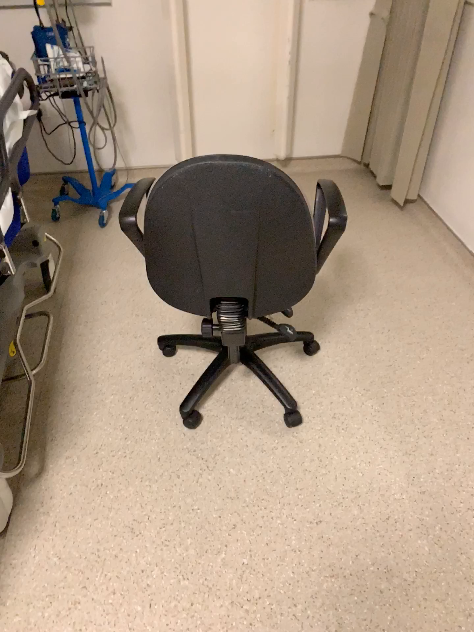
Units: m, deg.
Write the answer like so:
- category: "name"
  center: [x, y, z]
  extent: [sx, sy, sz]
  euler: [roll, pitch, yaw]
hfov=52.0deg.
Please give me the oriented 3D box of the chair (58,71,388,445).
- category: "chair"
  center: [-0.006, -0.186, 1.508]
  extent: [0.650, 0.881, 0.717]
  euler: [2, 39, 3]
